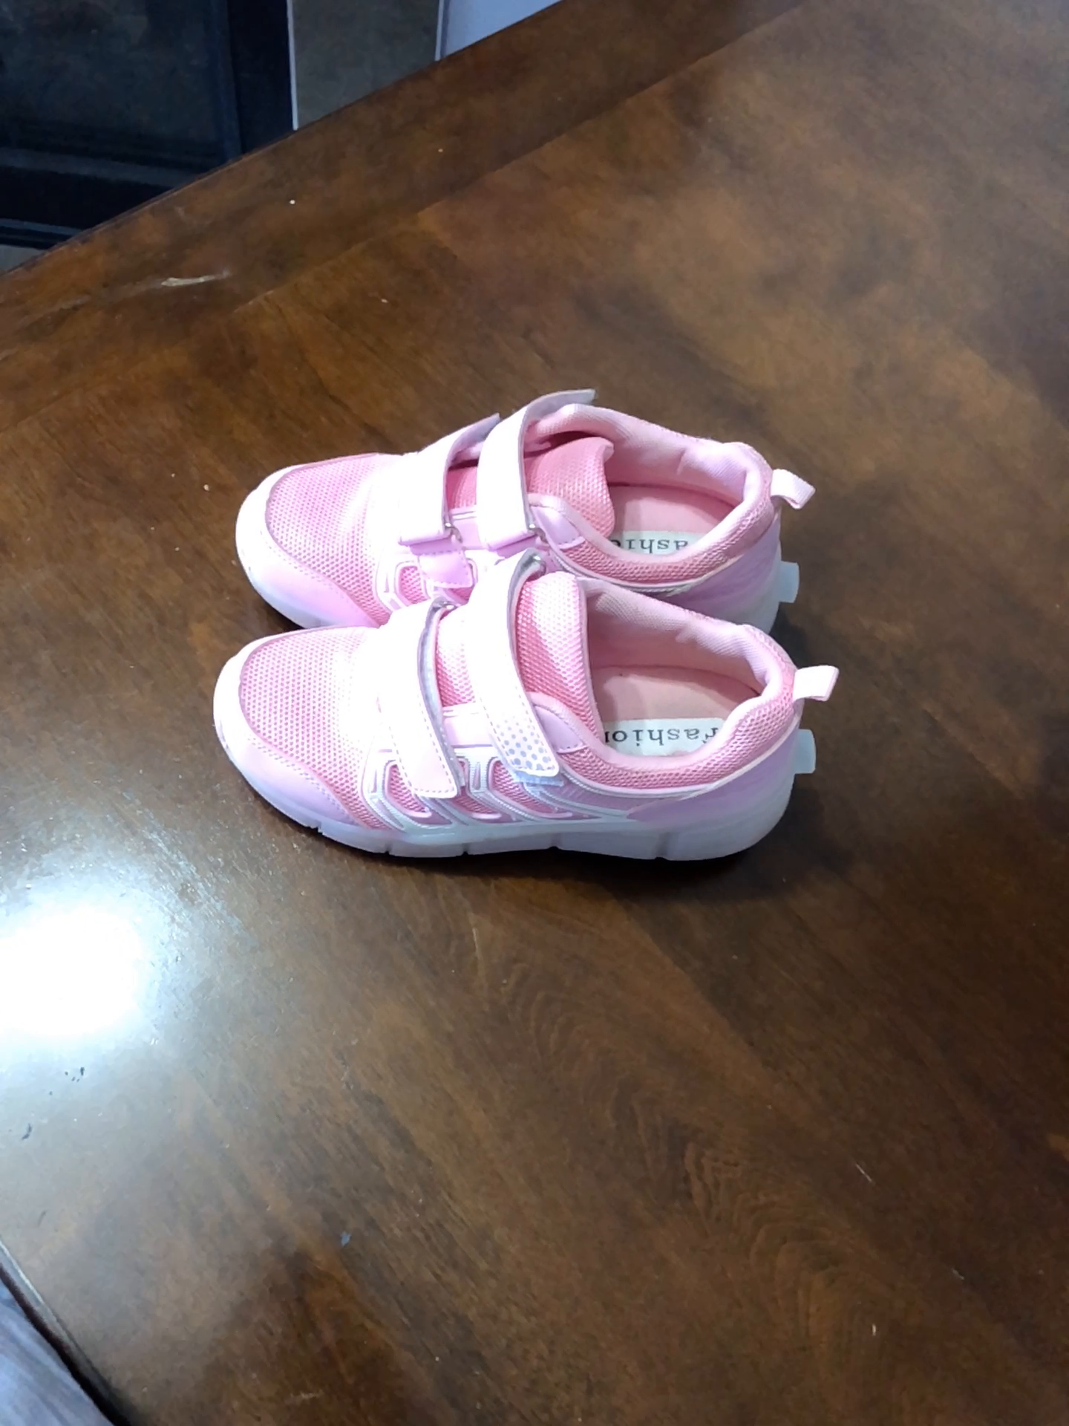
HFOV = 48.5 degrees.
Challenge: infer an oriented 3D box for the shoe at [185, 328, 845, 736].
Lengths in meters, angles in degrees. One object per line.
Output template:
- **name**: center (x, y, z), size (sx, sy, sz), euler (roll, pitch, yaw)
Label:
- **shoe**: center (-0.008, -0.071, 0.515), size (0.250, 0.110, 0.100), euler (7, 65, -6)

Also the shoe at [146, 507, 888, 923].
- **shoe**: center (-0.007, 0.008, 0.485), size (0.260, 0.110, 0.110), euler (6, 65, -6)
